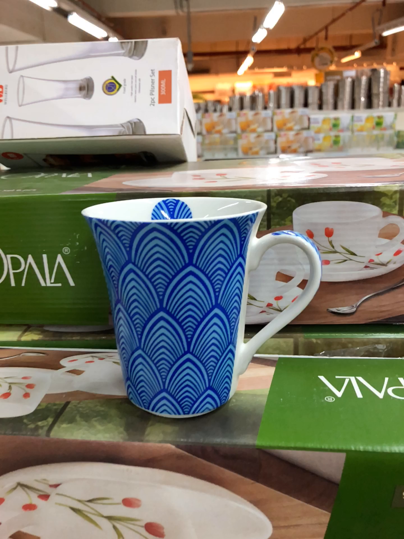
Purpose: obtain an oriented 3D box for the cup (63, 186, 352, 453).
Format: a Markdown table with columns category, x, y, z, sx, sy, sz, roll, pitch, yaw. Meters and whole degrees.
| category | x | y | z | sx | sy | sz | roll | pitch | yaw |
| --- | --- | --- | --- | --- | --- | --- | --- | --- | --- |
| cup | 0.008 | 0.017 | 0.223 | 0.110 | 0.100 | 0.080 | 1 | 20 | 10 |
